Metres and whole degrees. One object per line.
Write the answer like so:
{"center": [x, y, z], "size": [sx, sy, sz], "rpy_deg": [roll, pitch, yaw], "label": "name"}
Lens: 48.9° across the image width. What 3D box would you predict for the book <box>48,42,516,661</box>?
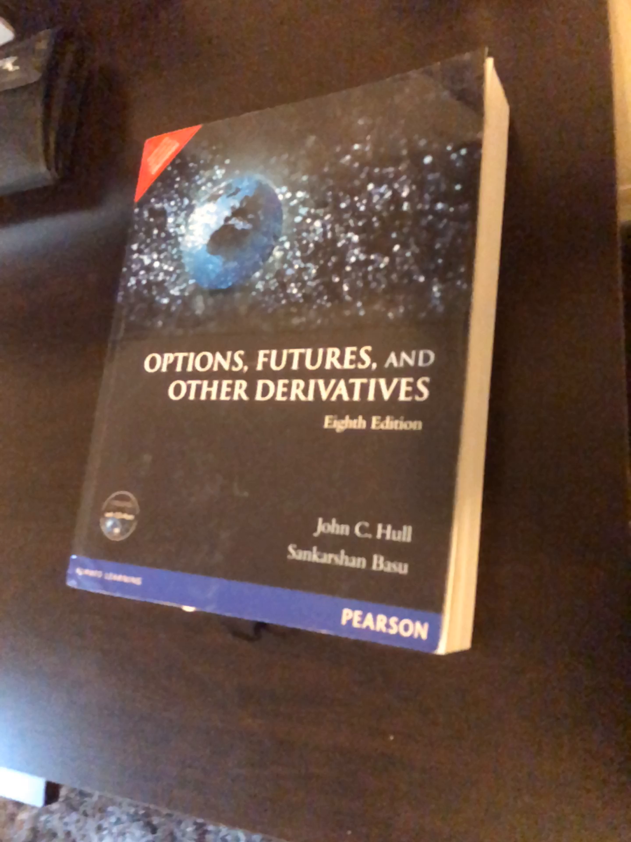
{"center": [-0.018, -0.035, 0.351], "size": [0.208, 0.050, 0.261], "rpy_deg": [1, 78, 28], "label": "book"}
